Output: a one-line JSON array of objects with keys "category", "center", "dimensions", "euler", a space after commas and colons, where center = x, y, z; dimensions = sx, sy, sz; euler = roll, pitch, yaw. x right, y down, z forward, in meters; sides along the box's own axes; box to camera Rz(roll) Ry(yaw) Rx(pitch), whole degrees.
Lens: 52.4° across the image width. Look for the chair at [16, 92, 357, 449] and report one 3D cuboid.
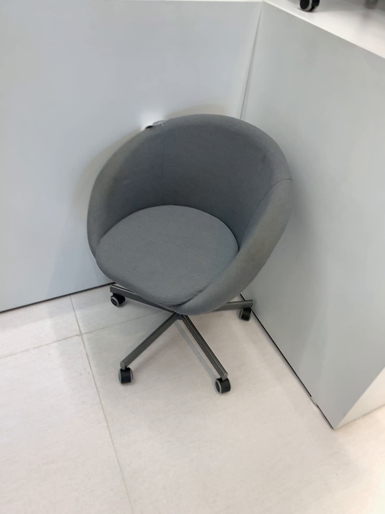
[{"category": "chair", "center": [-0.020, 0.015, 1.433], "dimensions": [0.731, 0.827, 0.712], "euler": [30, 47, 22]}]
